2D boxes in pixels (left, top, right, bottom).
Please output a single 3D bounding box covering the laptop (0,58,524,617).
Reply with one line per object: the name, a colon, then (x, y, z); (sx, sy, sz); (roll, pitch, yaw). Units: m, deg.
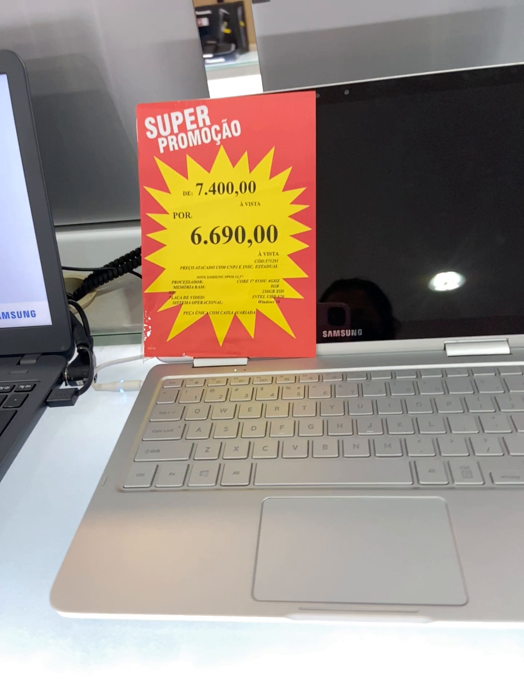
laptop: (0.048, -0.040, 0.327); (0.305, 0.170, 0.312); (-3, 34, 9)
